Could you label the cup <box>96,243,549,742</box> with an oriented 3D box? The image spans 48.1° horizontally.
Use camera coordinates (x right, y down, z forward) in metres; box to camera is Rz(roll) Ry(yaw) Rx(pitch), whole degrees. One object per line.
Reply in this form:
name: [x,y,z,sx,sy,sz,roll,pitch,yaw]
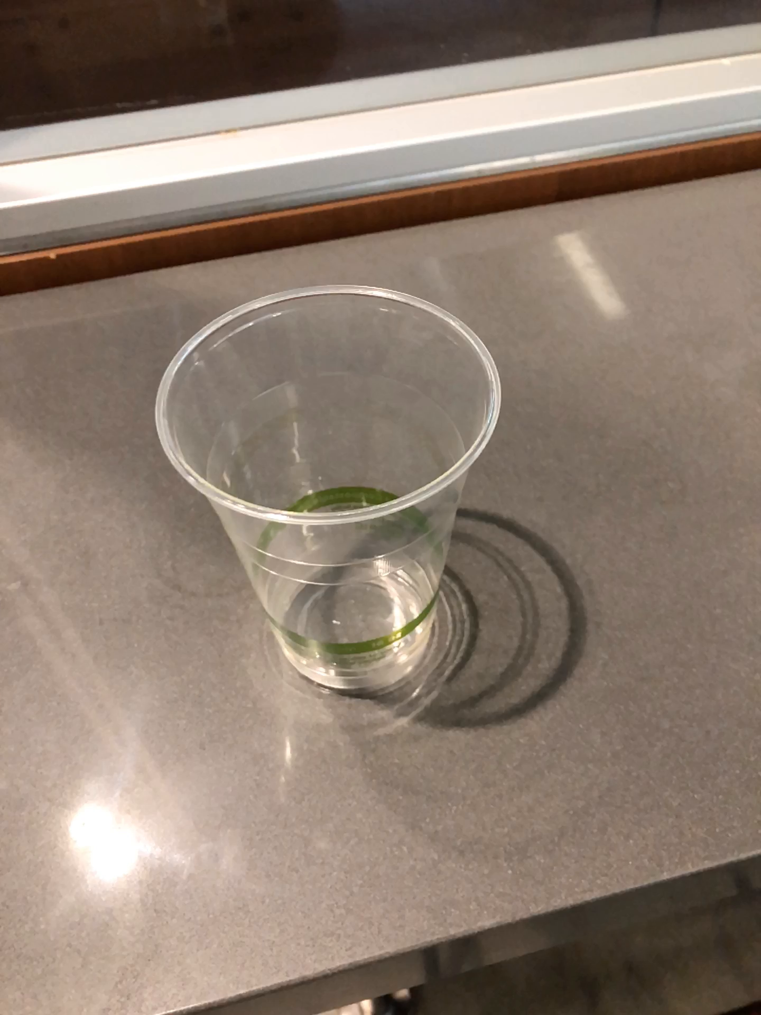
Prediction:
cup: [-0.009,-0.005,0.281,0.100,0.109,0.100,-2,48,2]
